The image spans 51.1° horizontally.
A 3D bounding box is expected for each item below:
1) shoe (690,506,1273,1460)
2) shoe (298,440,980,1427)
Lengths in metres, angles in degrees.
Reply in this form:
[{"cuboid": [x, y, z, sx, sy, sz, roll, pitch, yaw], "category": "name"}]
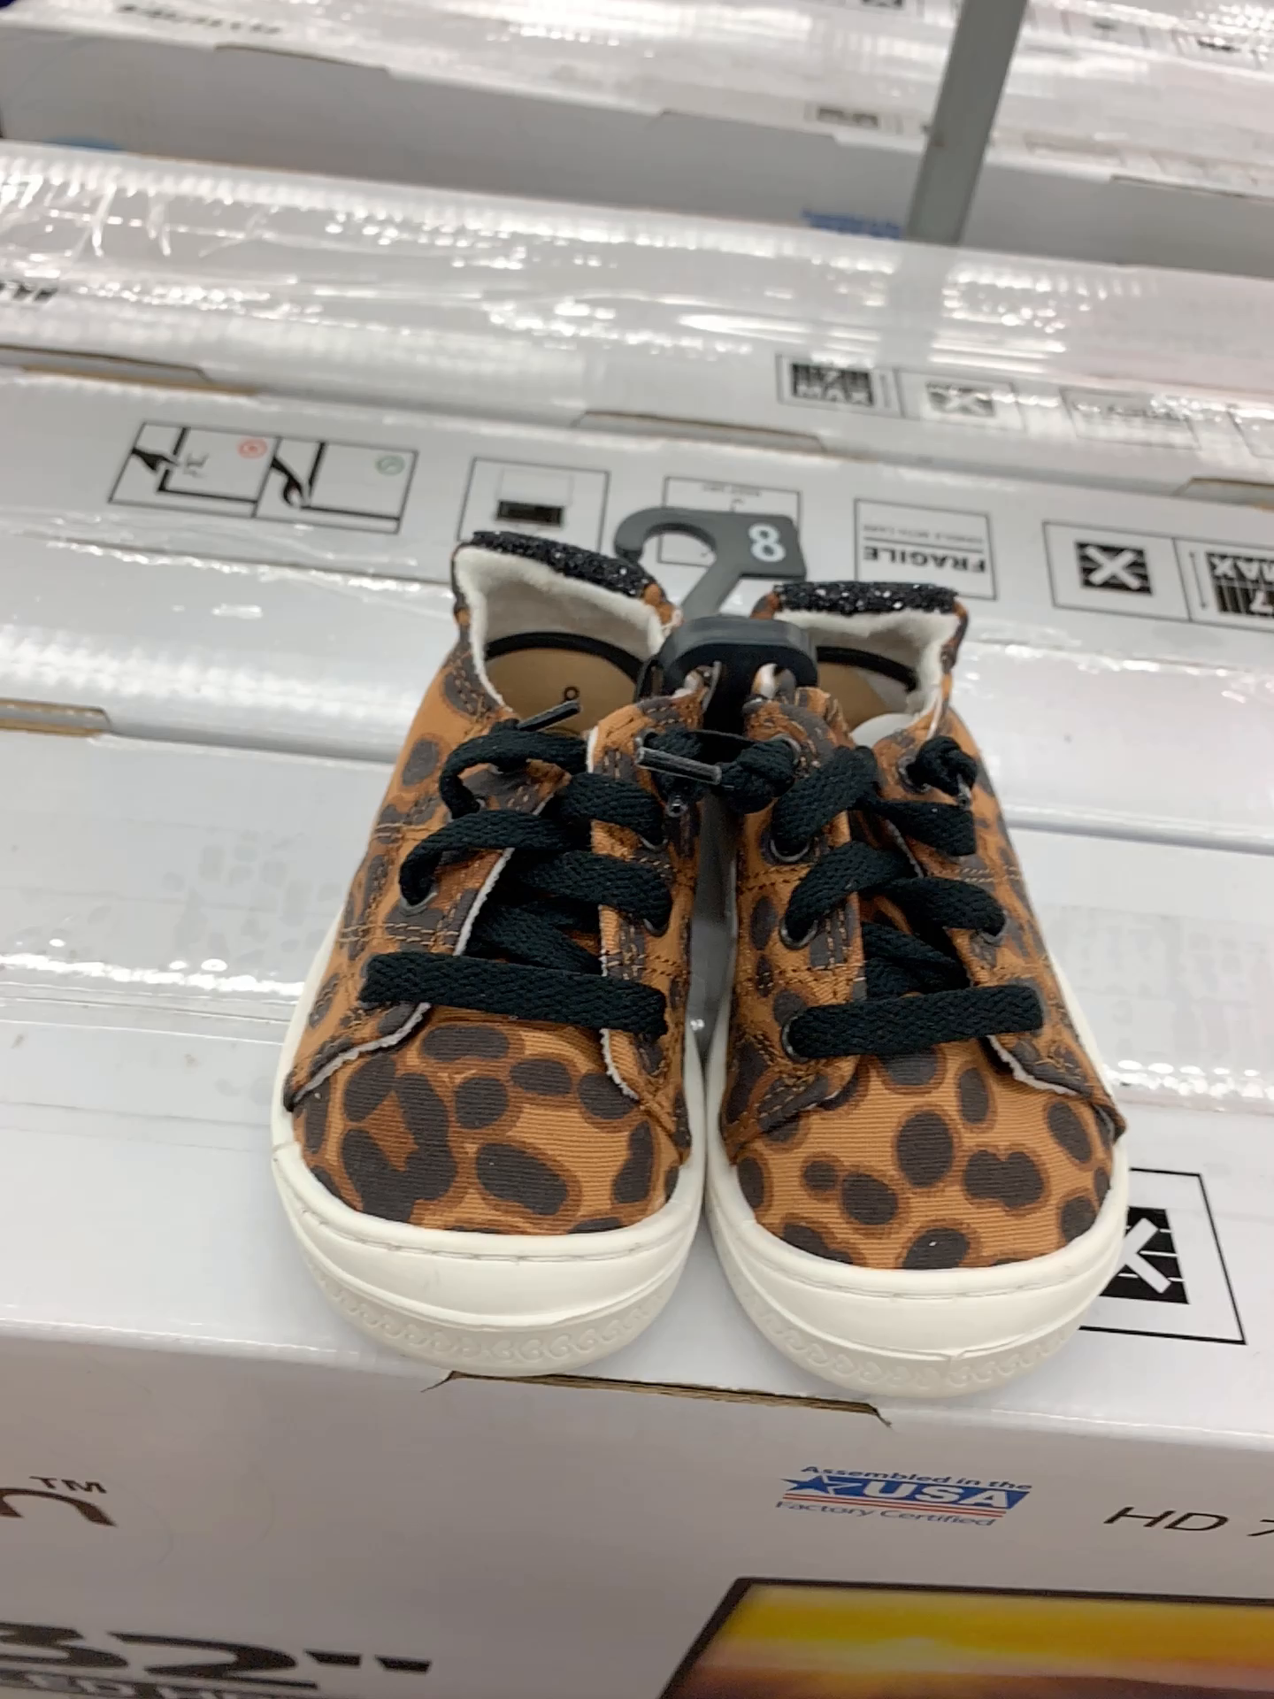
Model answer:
[{"cuboid": [0.053, 0.010, 0.234, 0.080, 0.040, 0.171, 3, 50, -3], "category": "shoe"}, {"cuboid": [0.003, 0.000, 0.226, 0.080, 0.040, 0.171, 5, 50, -2], "category": "shoe"}]
